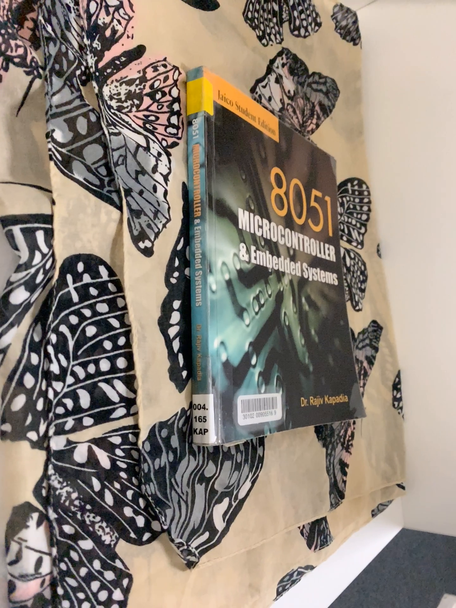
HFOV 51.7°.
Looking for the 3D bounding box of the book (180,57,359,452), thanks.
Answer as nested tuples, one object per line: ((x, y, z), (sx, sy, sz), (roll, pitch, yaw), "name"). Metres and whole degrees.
((0.039, -0.026, 0.349), (0.184, 0.020, 0.235), (9, 76, -50), "book")
